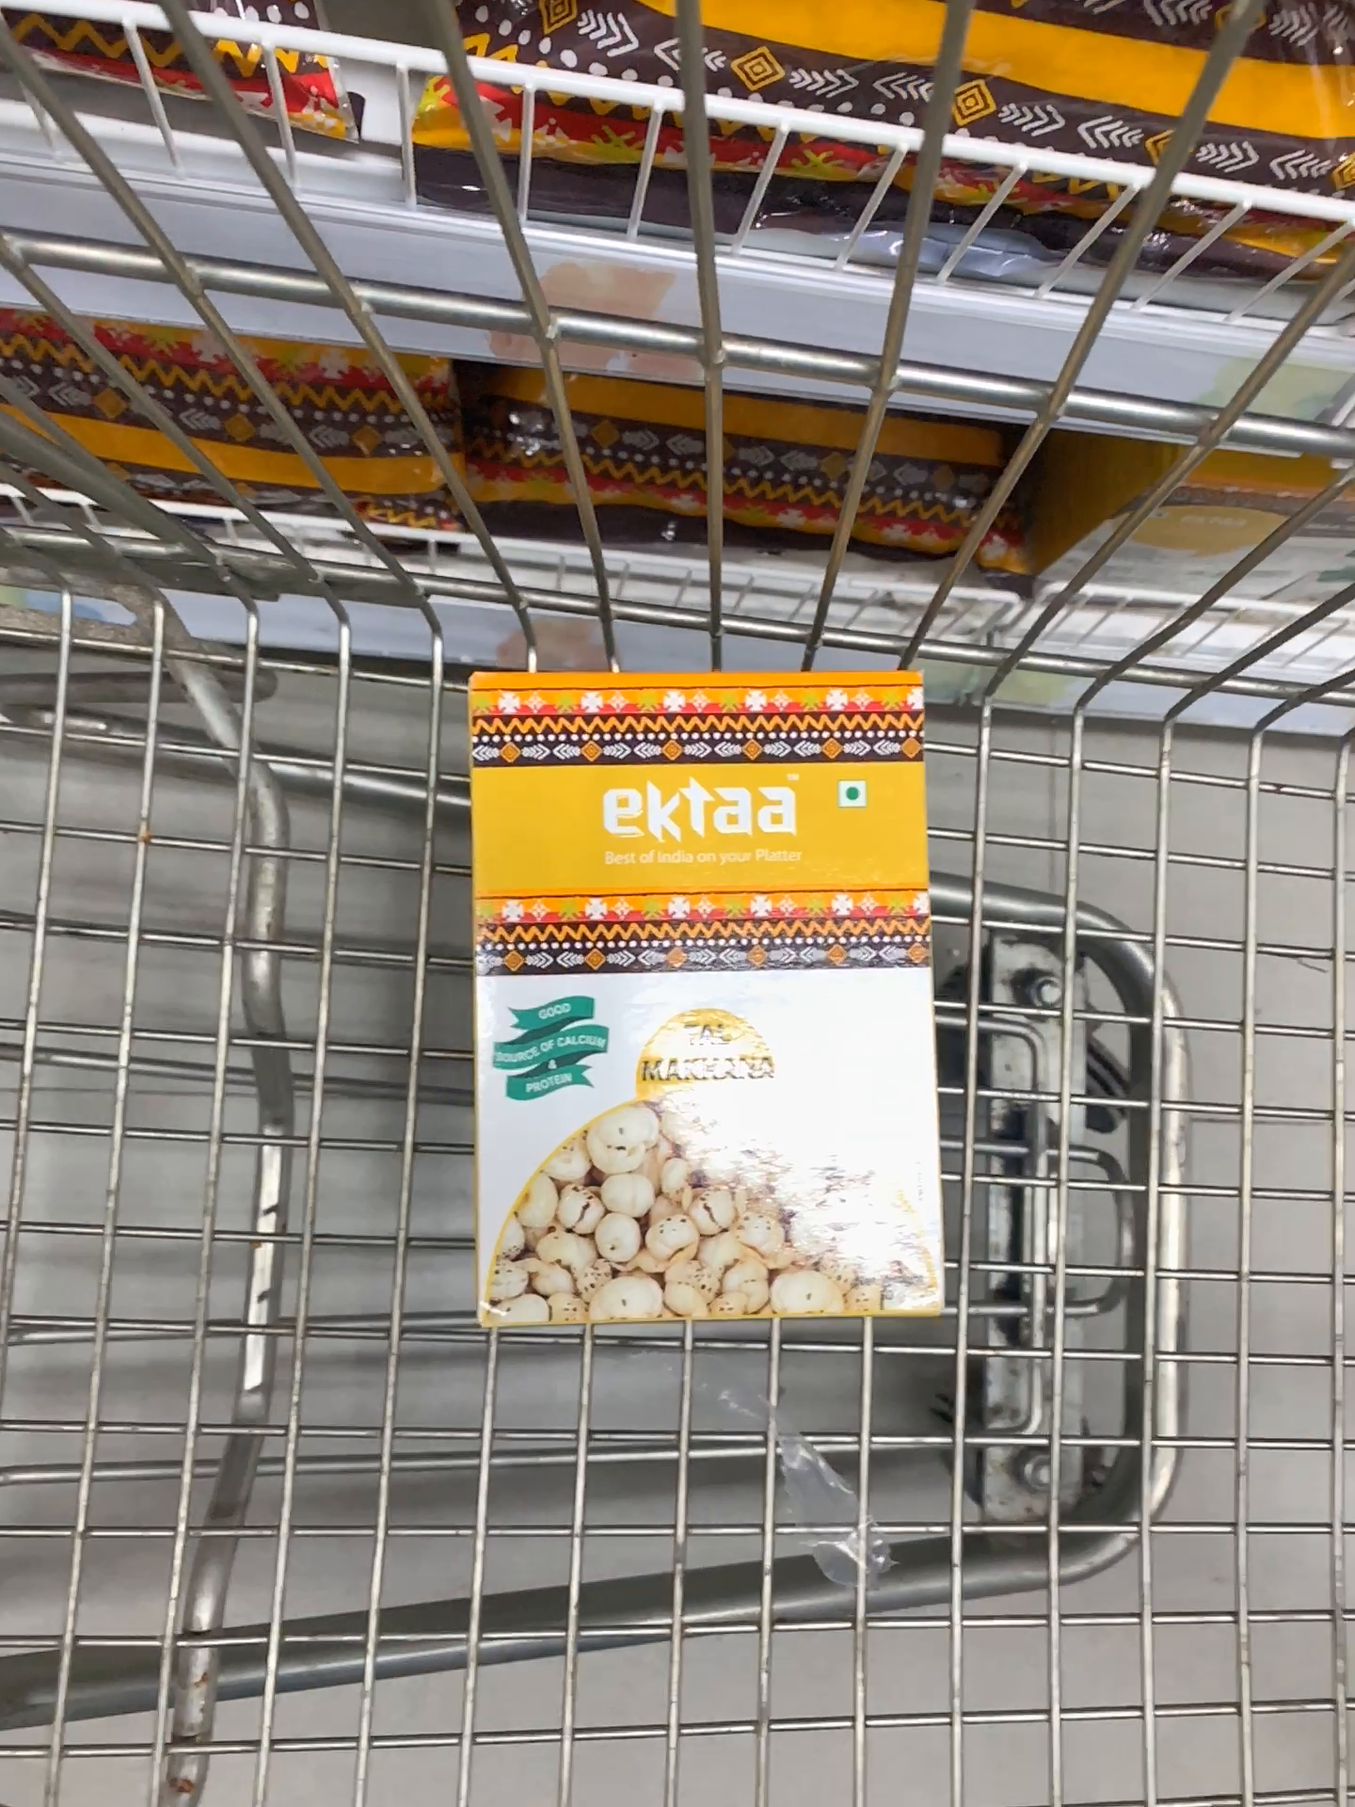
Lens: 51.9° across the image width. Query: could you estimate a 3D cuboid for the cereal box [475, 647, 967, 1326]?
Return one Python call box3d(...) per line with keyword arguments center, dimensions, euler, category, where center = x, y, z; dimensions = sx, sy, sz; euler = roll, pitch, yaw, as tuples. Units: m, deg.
box3d(center=(0.010, 0.022, 0.408), dimensions=(0.130, 0.070, 0.180), euler=(-1, 88, -2), category="cereal box")
